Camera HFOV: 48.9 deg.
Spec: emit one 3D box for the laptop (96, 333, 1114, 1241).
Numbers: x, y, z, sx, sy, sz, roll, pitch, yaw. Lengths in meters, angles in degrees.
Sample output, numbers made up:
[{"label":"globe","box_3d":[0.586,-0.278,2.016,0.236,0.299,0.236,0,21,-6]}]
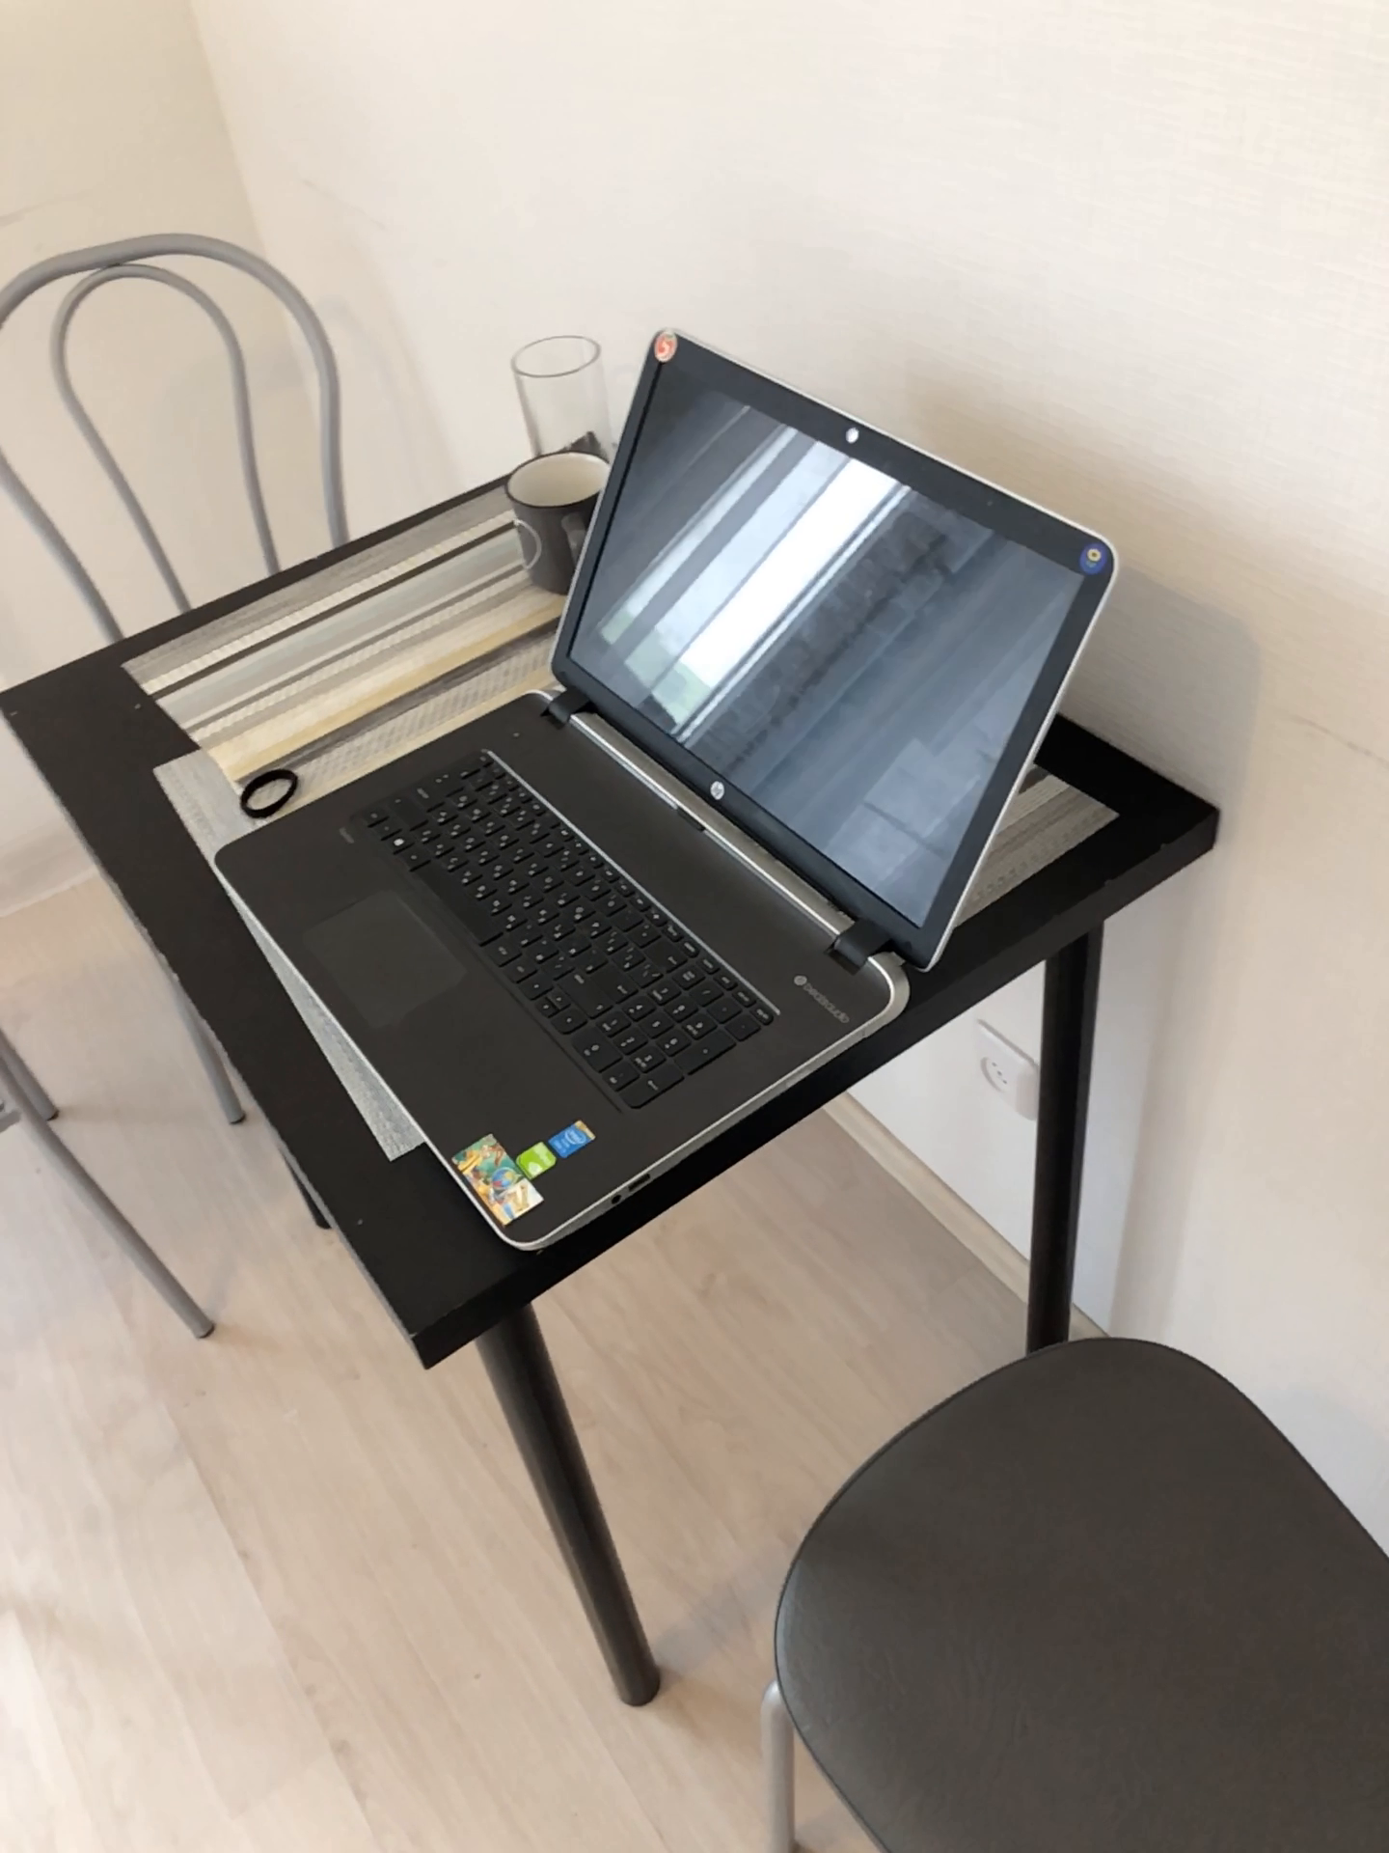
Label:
[{"label":"laptop","box_3d":[-0.057,-0.122,0.925,0.413,0.227,0.417,-30,47,-21]}]
